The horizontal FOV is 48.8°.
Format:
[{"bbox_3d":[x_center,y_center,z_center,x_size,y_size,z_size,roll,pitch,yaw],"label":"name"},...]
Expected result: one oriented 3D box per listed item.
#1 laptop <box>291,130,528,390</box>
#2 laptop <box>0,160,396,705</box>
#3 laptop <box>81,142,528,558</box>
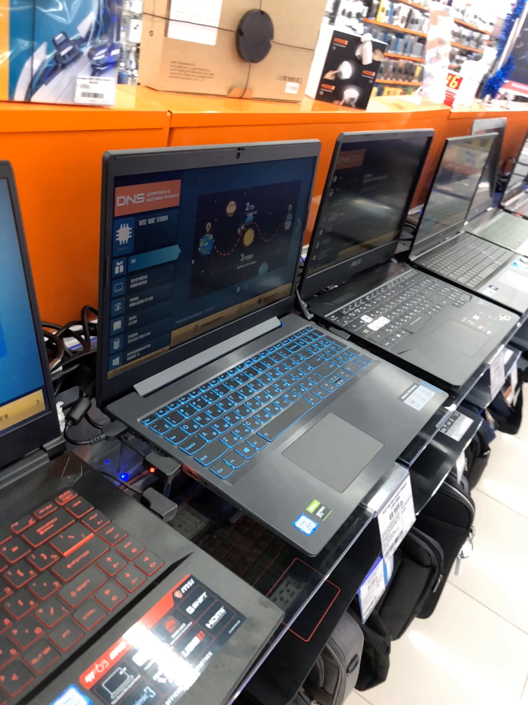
[{"bbox_3d":[0.279,-0.174,0.900,0.273,0.244,0.369,30,33,24],"label":"laptop"},{"bbox_3d":[-0.180,0.082,0.279,0.319,0.224,0.357,29,32,22],"label":"laptop"},{"bbox_3d":[0.058,-0.050,0.601,0.278,0.235,0.358,29,32,23],"label":"laptop"}]
